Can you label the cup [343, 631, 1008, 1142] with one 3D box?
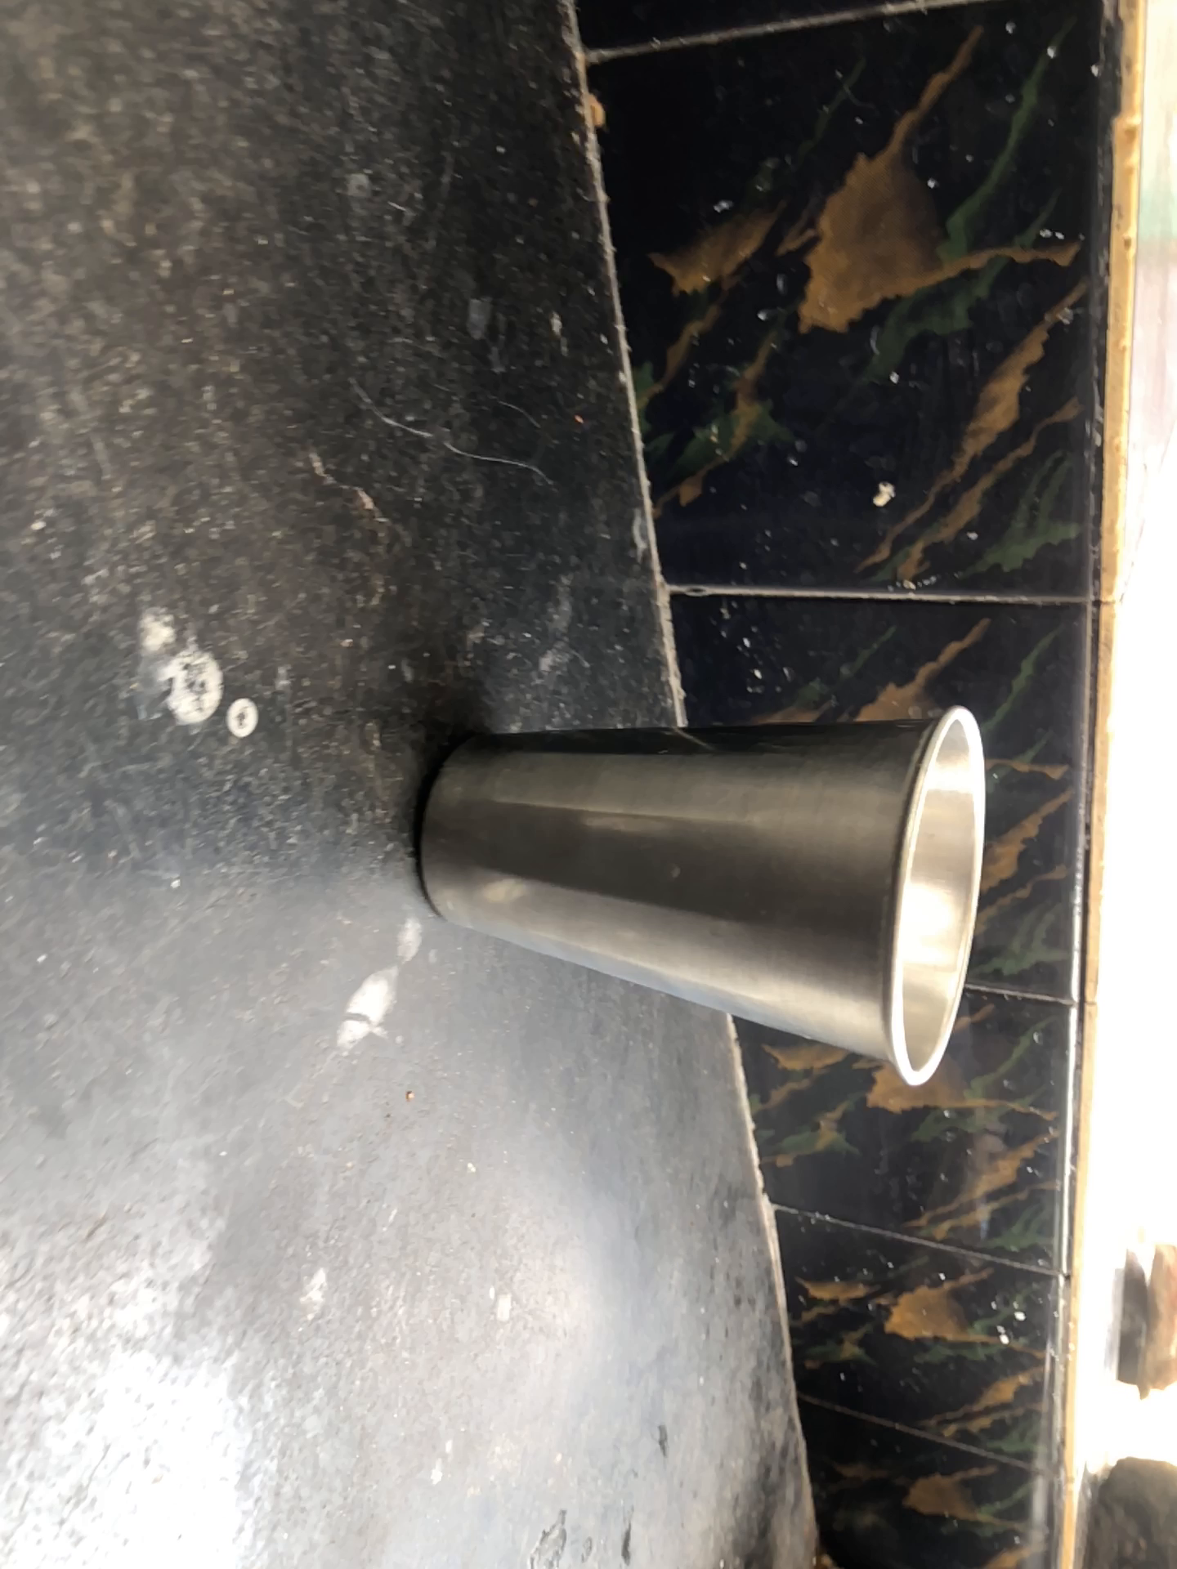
[{"bbox_3d":[0.026,0.021,0.297,0.080,0.119,0.070,64,40,-49],"label":"cup"}]
